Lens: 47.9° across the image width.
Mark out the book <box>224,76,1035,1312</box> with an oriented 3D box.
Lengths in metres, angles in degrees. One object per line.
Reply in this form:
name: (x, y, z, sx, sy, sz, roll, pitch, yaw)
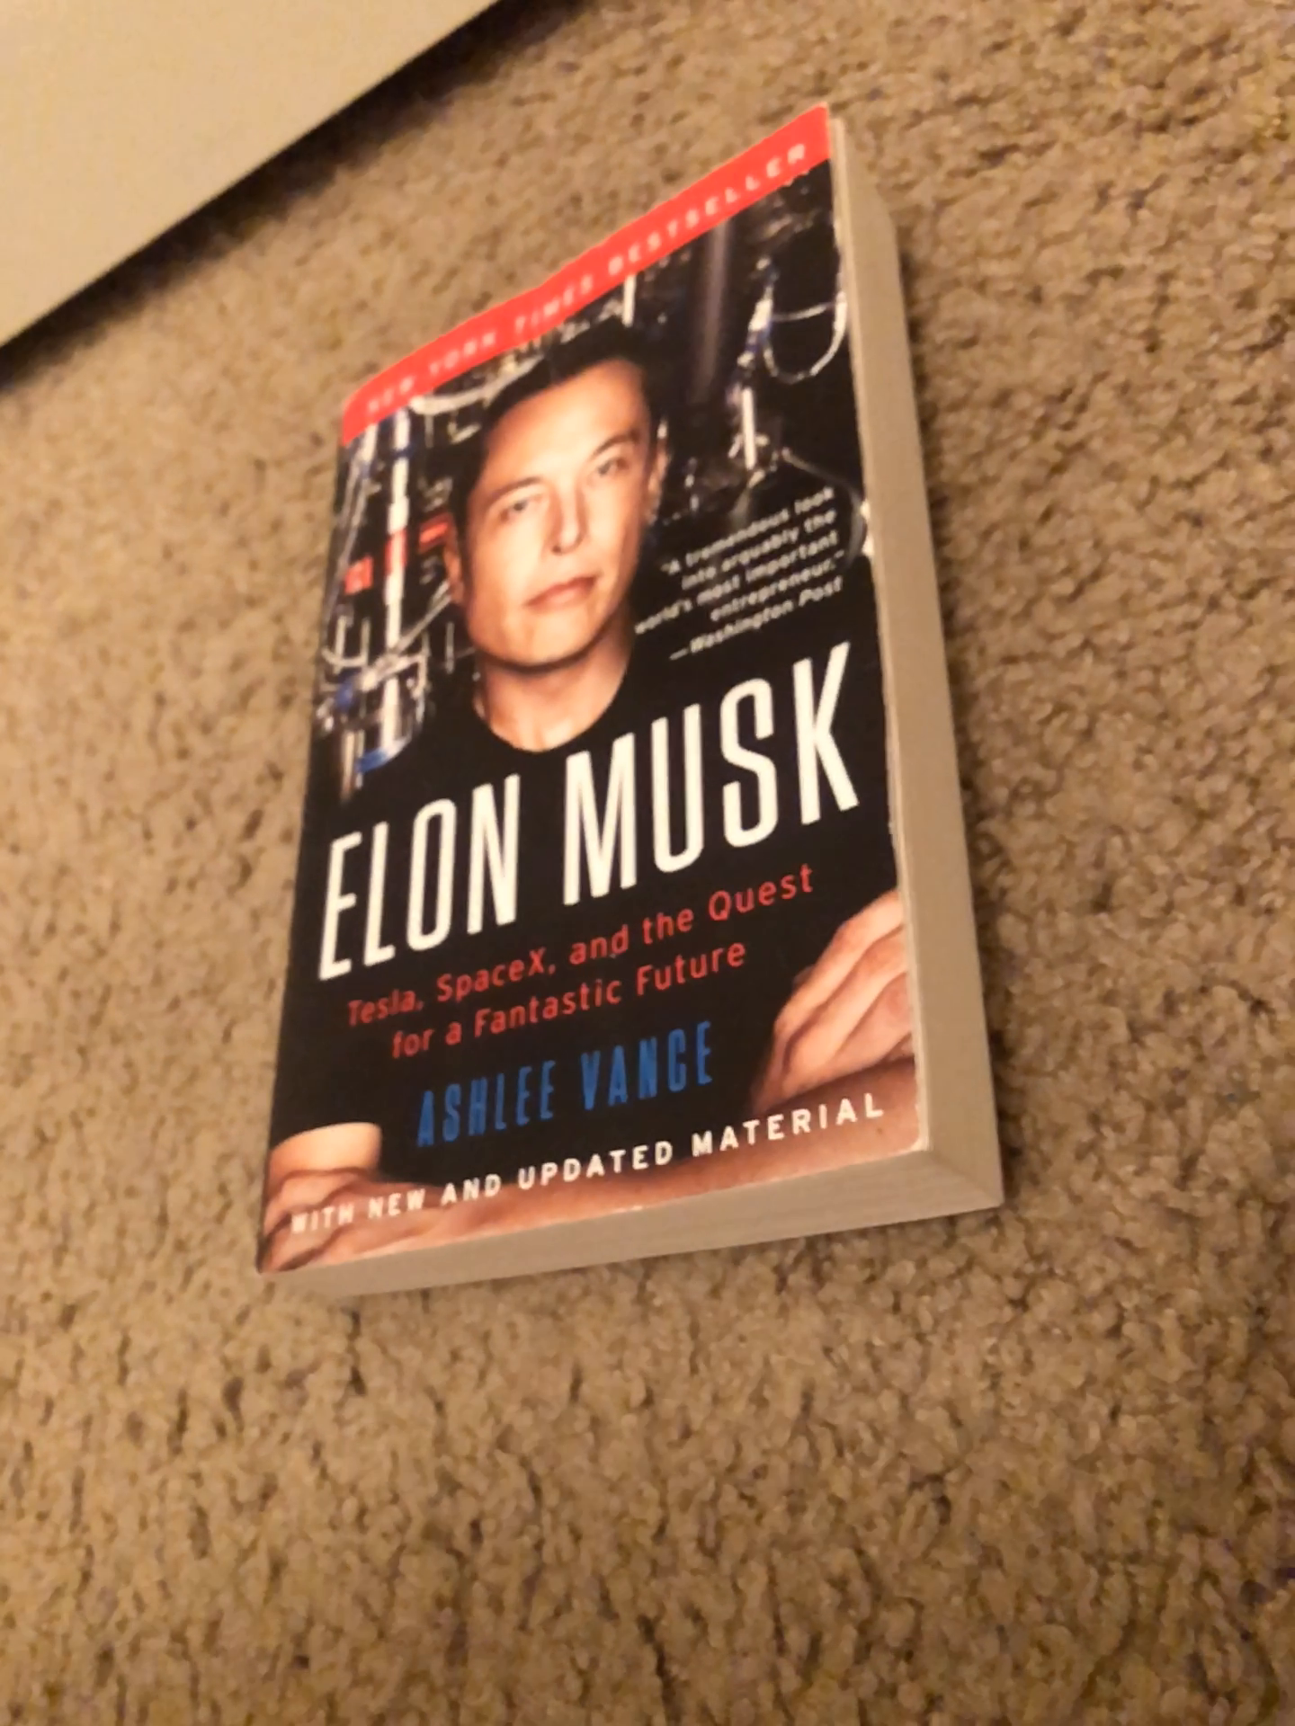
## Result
book: (-0.011, -0.029, 0.273, 0.136, 0.033, 0.202, -19, 59, 33)
